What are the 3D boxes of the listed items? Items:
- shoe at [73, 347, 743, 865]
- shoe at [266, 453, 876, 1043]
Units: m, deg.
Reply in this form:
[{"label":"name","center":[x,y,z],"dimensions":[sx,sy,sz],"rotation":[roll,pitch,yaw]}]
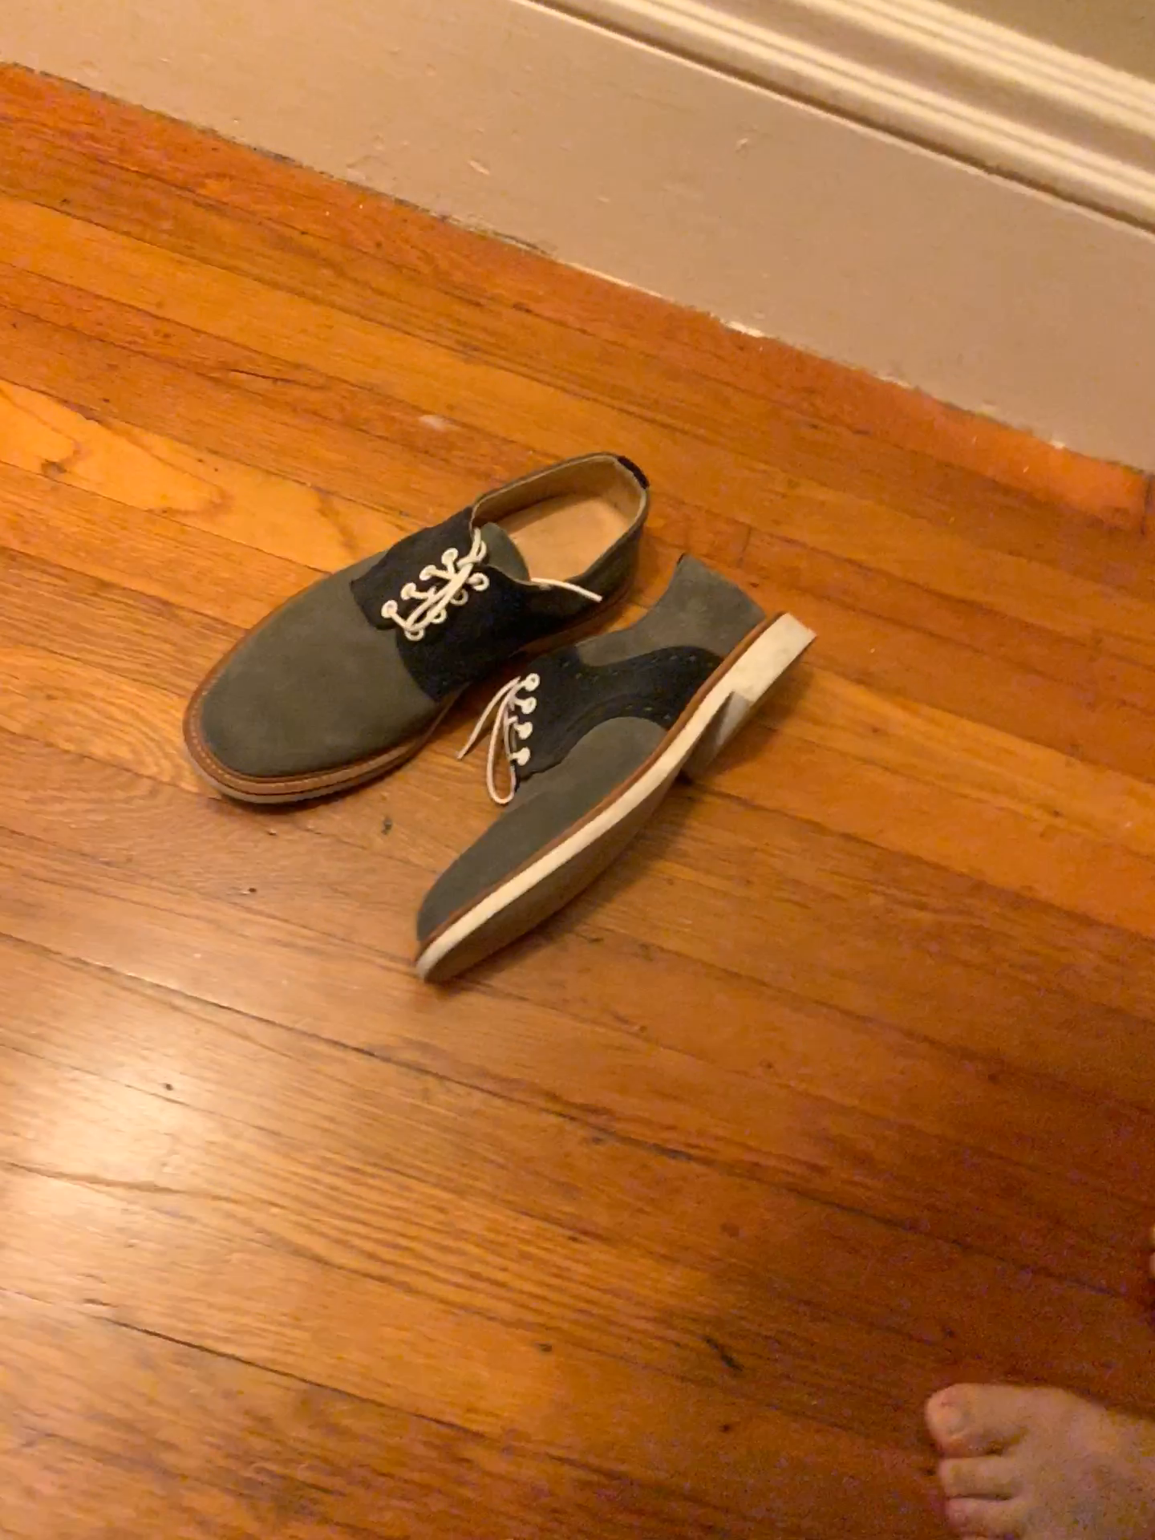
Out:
[{"label":"shoe","center":[-0.083,-0.092,0.642],"dimensions":[0.310,0.100,0.130],"rotation":[-29,77,-18]},{"label":"shoe","center":[0.000,-0.013,0.648],"dimensions":[0.310,0.130,0.120],"rotation":[-41,79,-20]}]
